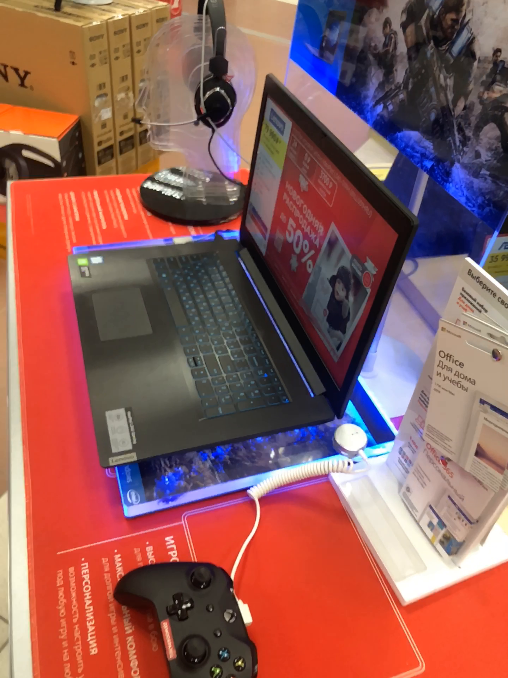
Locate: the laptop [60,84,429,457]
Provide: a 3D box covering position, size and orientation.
[{"bbox_3d":[-0.062,-0.117,0.701,0.295,0.255,0.405,-9,41,-15],"label":"laptop"}]
